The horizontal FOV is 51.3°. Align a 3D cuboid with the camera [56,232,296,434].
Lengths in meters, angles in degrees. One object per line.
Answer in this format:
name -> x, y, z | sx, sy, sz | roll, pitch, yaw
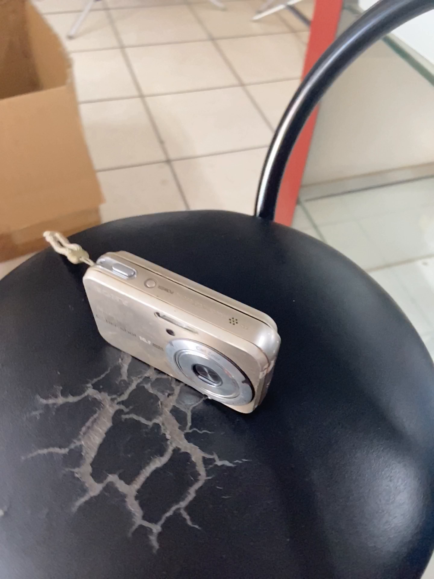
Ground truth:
camera -> -0.022, 0.022, 0.229 | 0.110, 0.060, 0.030 | 25, 54, 16
